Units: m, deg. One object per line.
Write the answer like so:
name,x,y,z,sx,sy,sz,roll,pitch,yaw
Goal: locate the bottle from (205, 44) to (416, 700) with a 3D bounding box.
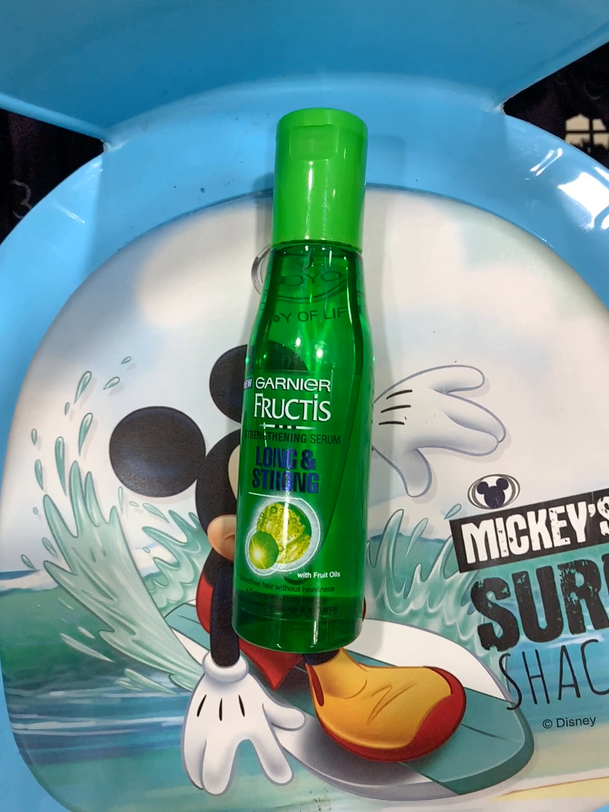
bottle,0.004,-0.009,0.181,0.040,0.040,0.160,1,88,27
